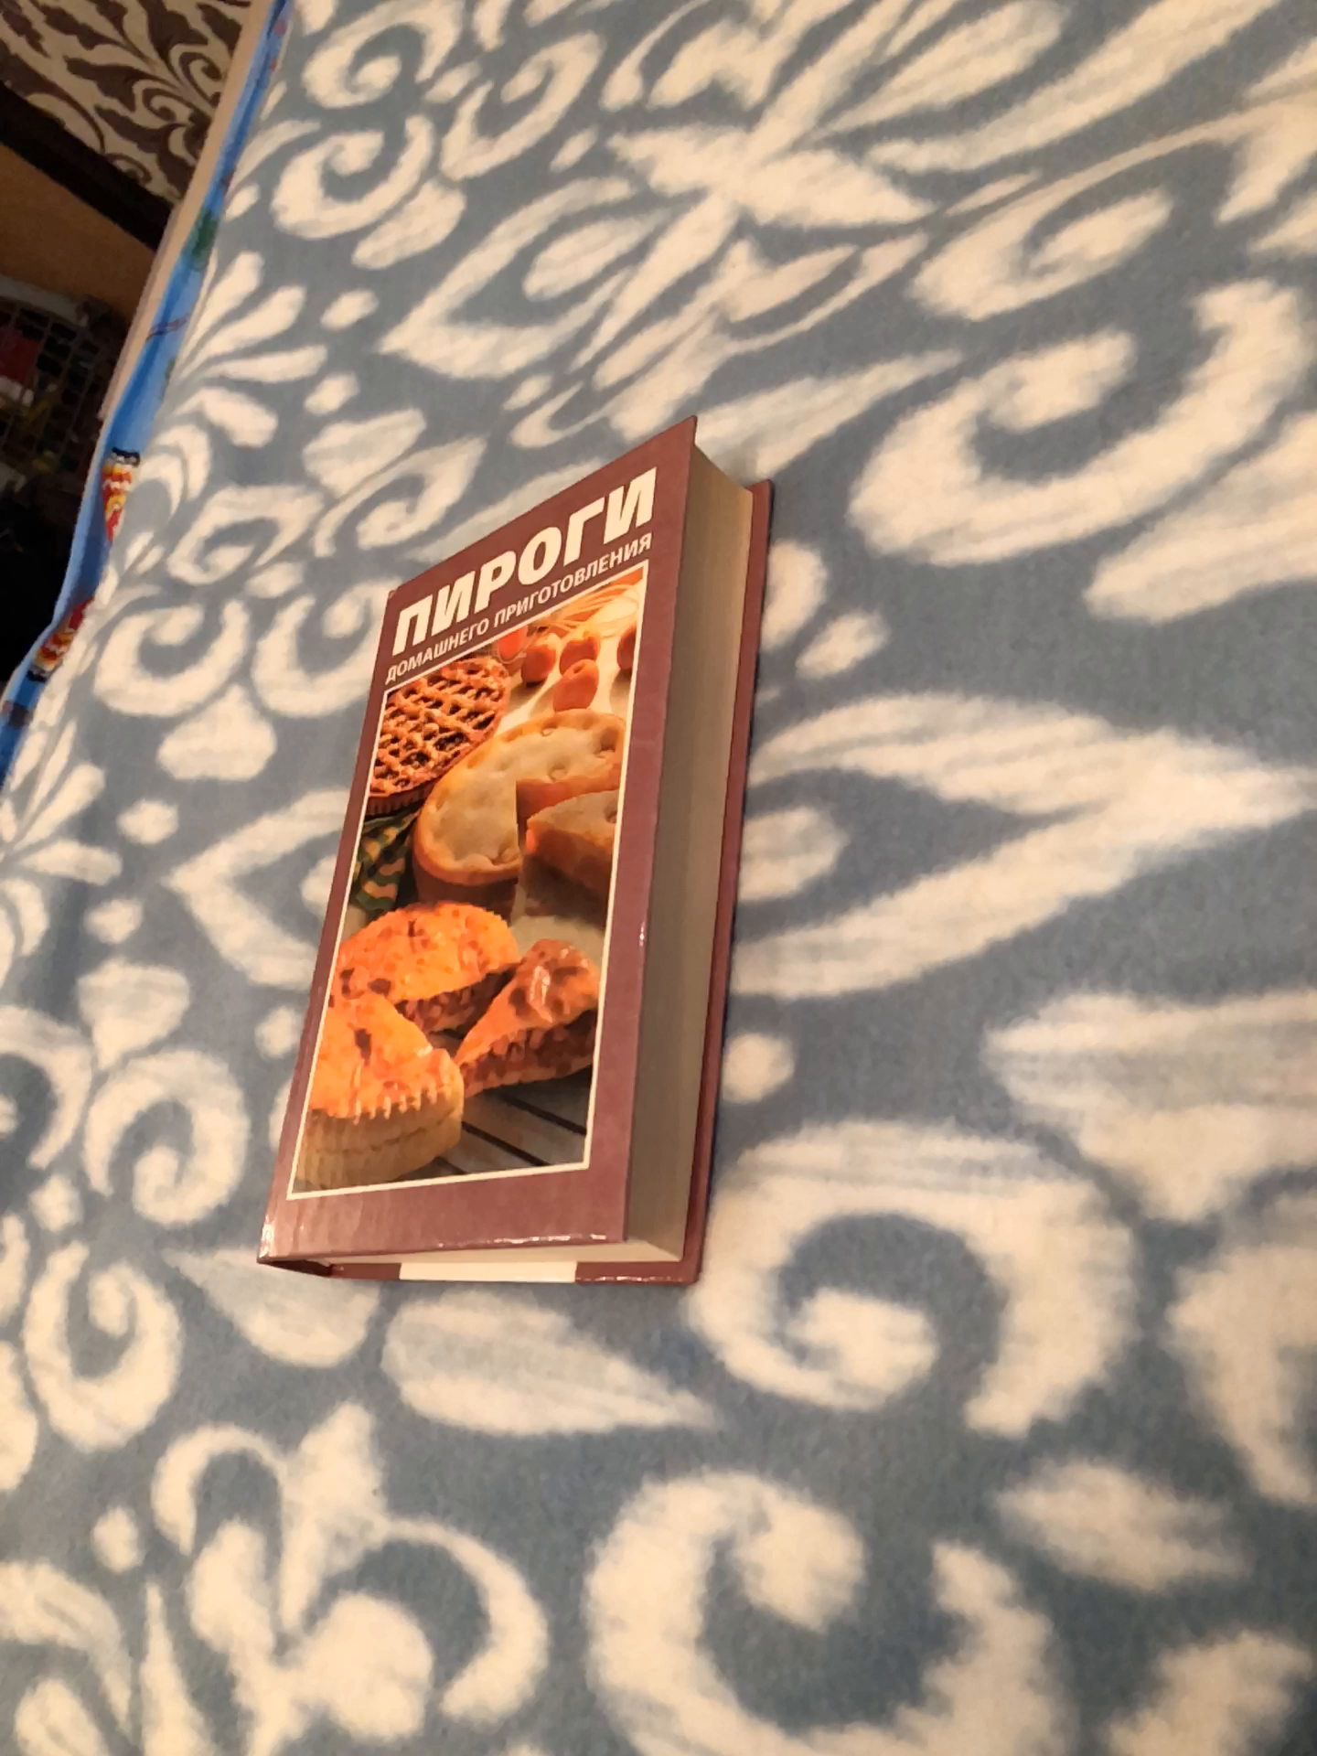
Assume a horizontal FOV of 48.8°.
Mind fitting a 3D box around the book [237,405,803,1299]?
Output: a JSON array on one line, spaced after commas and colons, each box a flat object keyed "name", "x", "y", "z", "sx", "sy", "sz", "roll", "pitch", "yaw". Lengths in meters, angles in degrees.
[{"name": "book", "x": -0.033, "y": -0.001, "z": 0.365, "sx": 0.132, "sy": 0.040, "sz": 0.201, "roll": -16, "pitch": 59, "yaw": 42}]
